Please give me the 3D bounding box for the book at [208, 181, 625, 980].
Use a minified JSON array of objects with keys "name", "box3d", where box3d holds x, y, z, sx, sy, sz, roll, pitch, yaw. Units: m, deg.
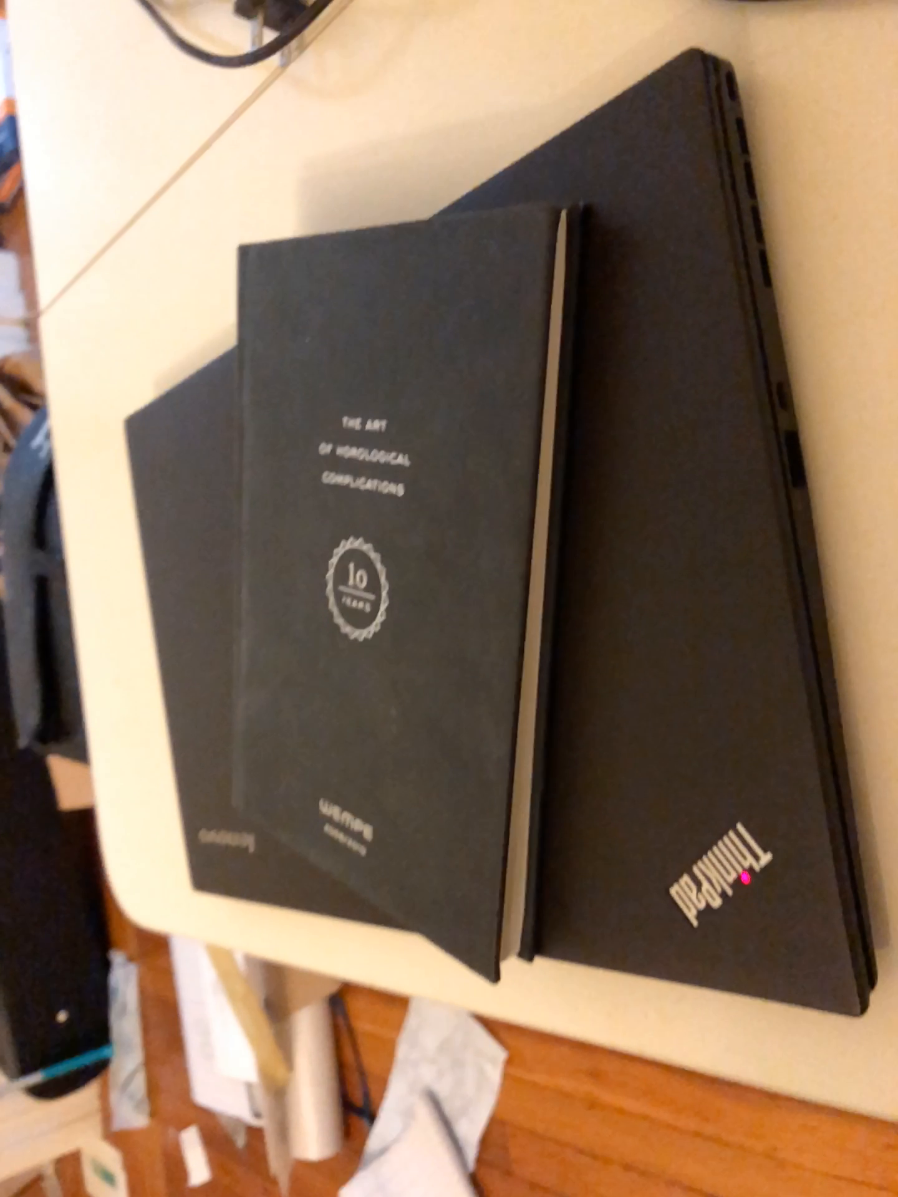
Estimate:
[{"name":"book","box3d":[-0.026,-0.013,0.345,0.171,0.030,0.220,15,105,48]}]
